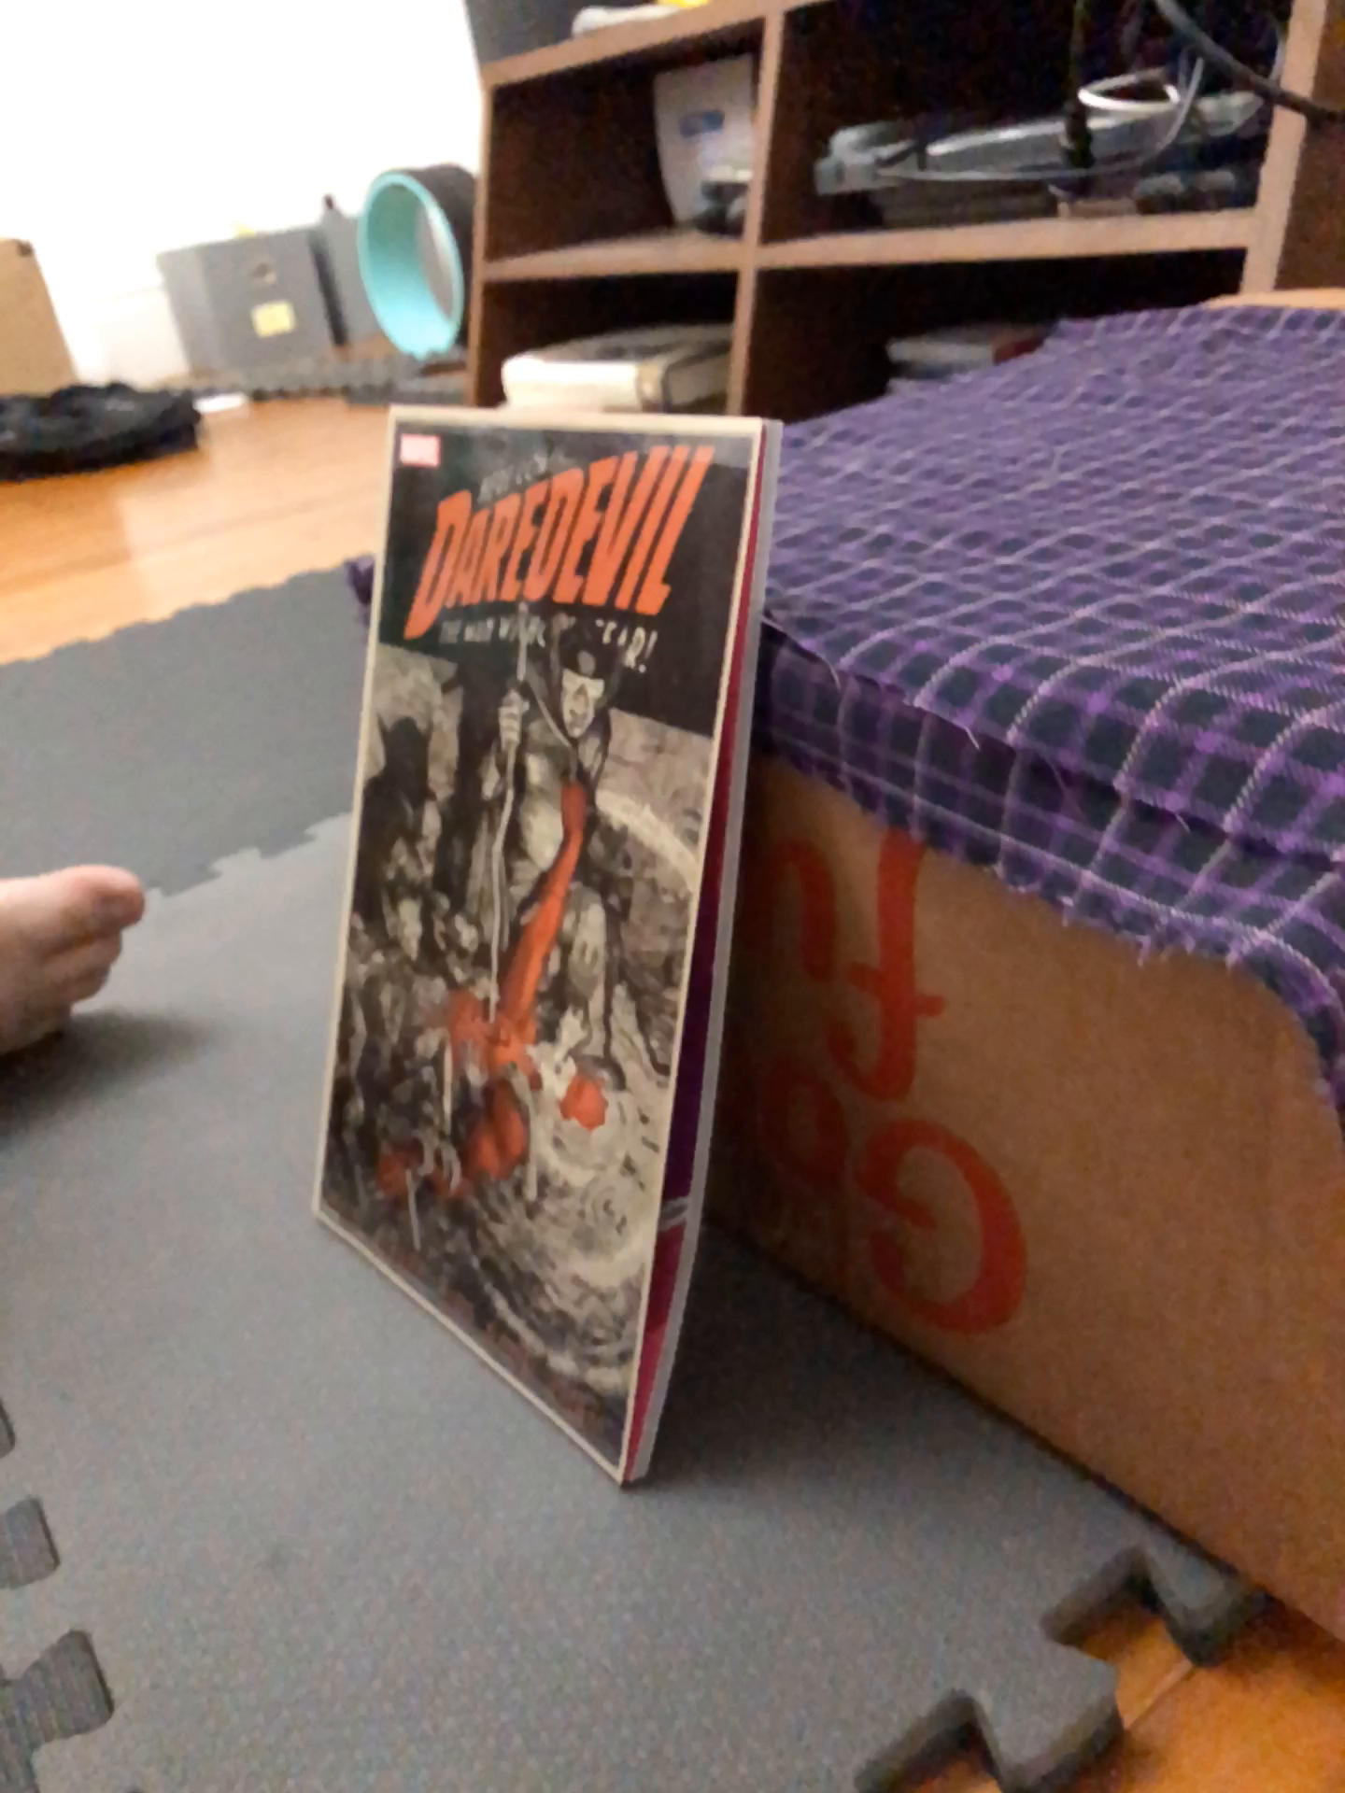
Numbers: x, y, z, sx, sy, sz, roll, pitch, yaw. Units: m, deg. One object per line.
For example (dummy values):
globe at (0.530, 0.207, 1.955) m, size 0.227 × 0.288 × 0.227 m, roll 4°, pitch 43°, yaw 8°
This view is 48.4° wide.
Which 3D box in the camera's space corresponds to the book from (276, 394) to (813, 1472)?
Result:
book at (-0.046, -0.004, 0.374) m, size 0.020 × 0.229 × 0.160 m, roll -3°, pitch 17°, yaw -41°
